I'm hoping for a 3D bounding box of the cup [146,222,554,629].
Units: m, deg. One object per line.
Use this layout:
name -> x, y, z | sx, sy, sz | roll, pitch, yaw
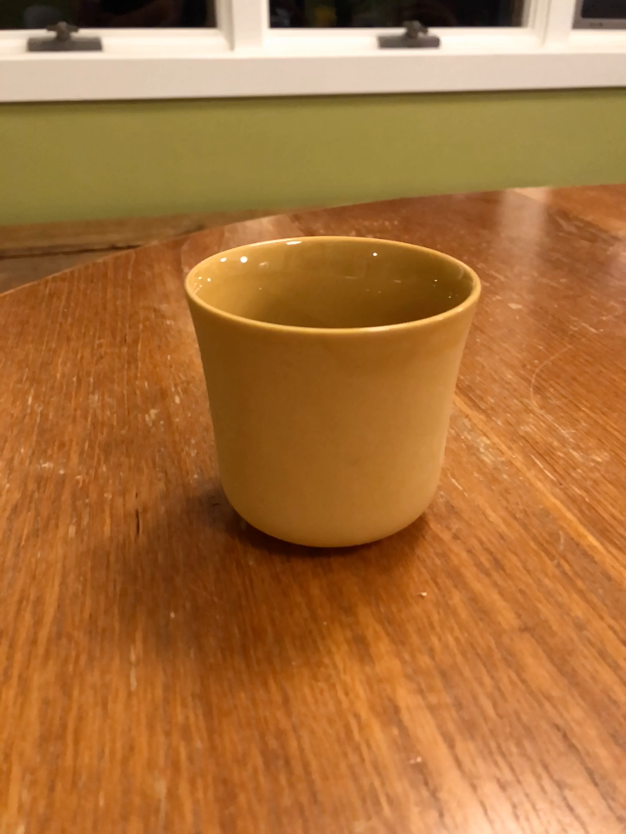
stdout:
cup -> 0.007, -0.006, 0.198 | 0.078, 0.073, 0.074 | 0, 29, 0
